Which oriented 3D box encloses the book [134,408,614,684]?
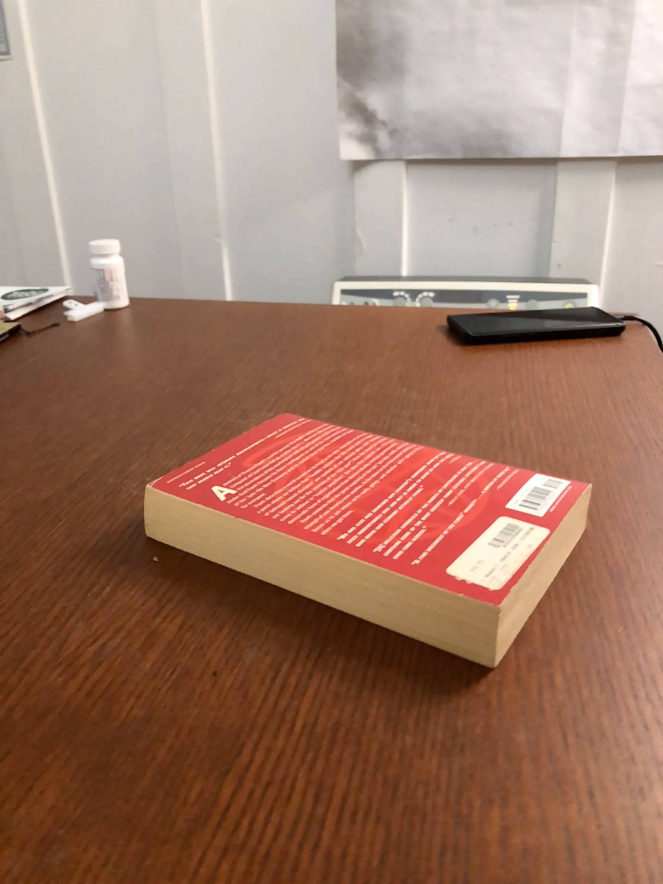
[{"bbox_3d":[0.023,0.037,0.391,0.210,0.030,0.141,14,27,31],"label":"book"}]
